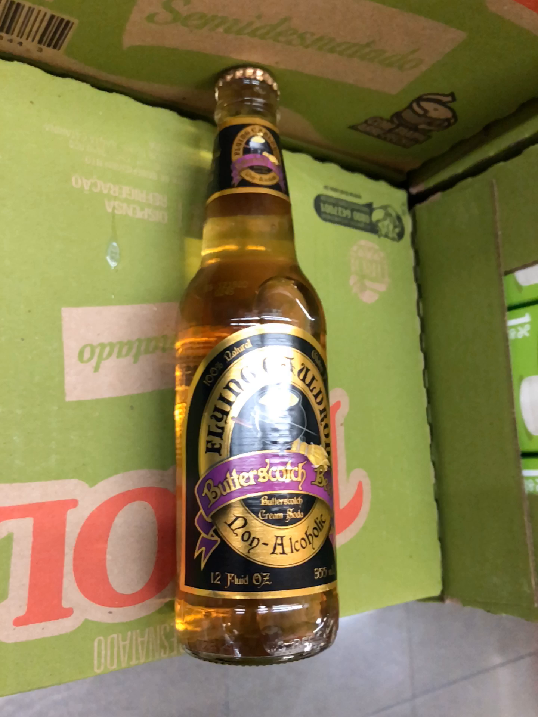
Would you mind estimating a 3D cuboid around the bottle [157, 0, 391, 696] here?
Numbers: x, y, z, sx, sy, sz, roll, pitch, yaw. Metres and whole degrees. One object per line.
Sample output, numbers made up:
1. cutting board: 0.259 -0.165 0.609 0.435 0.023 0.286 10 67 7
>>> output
1. bottle: -0.002 -0.019 0.247 0.070 0.050 0.260 5 78 -35
